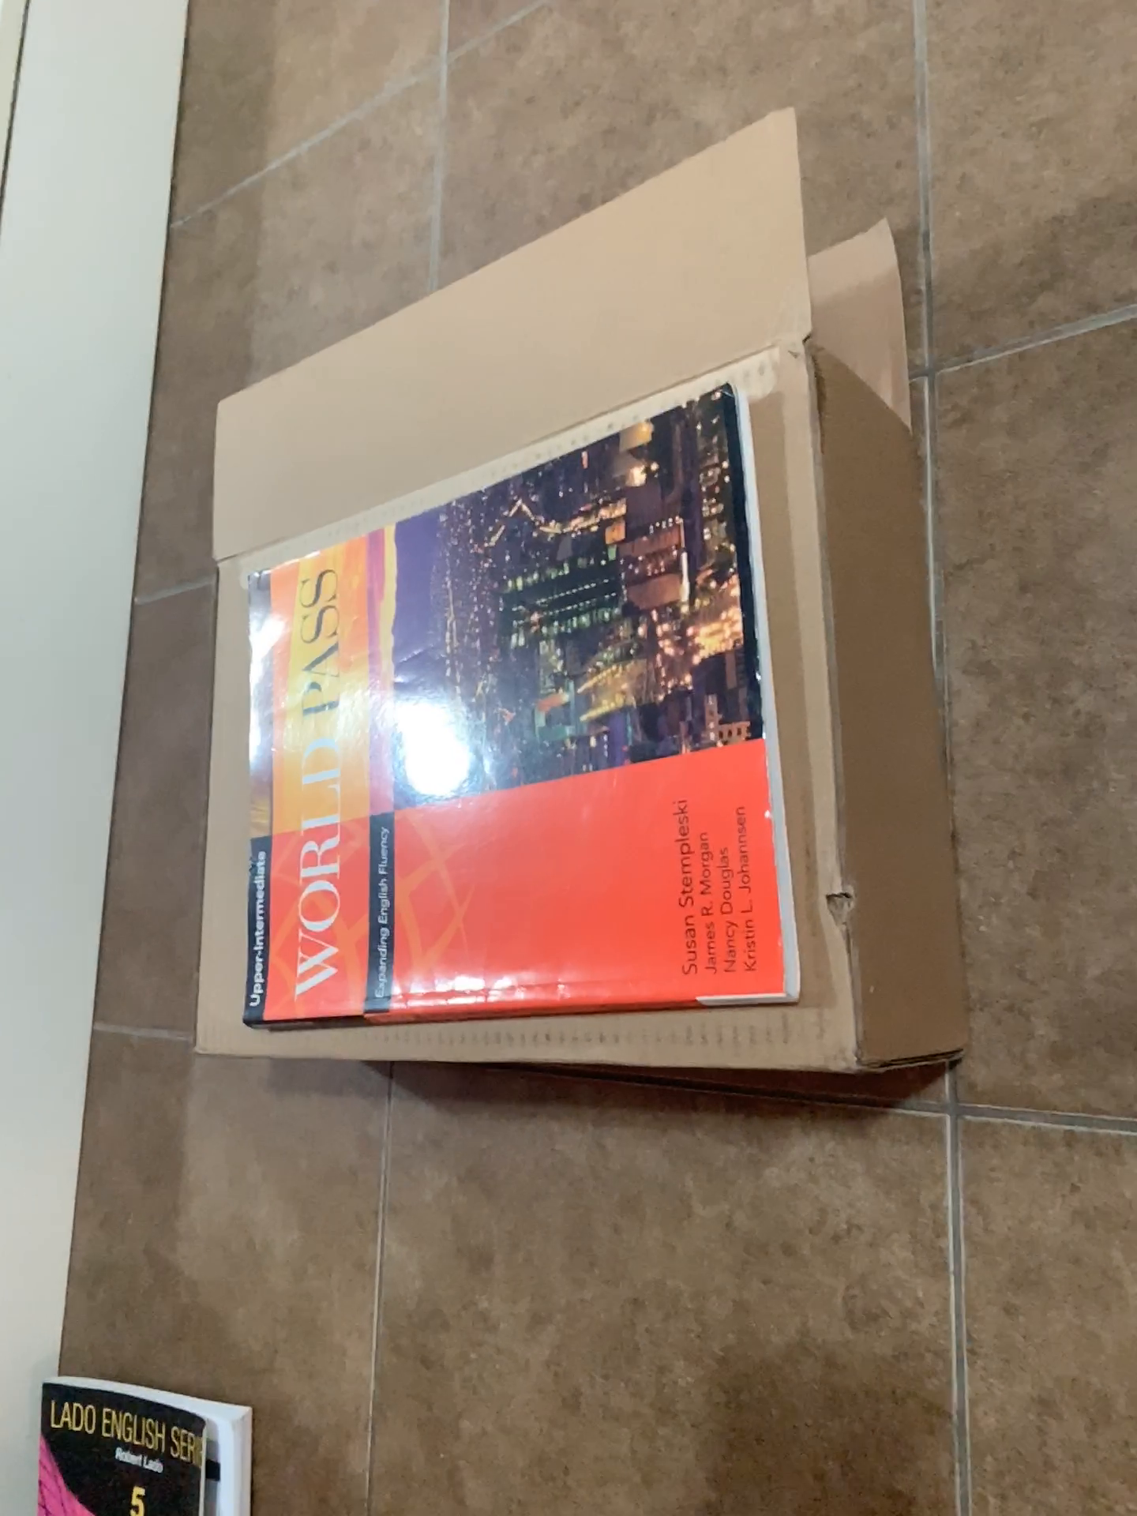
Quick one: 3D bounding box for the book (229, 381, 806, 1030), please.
[{"bbox_3d":[-0.042,-0.003,0.463,0.271,0.018,0.211,-12,74,37],"label":"book"}]
